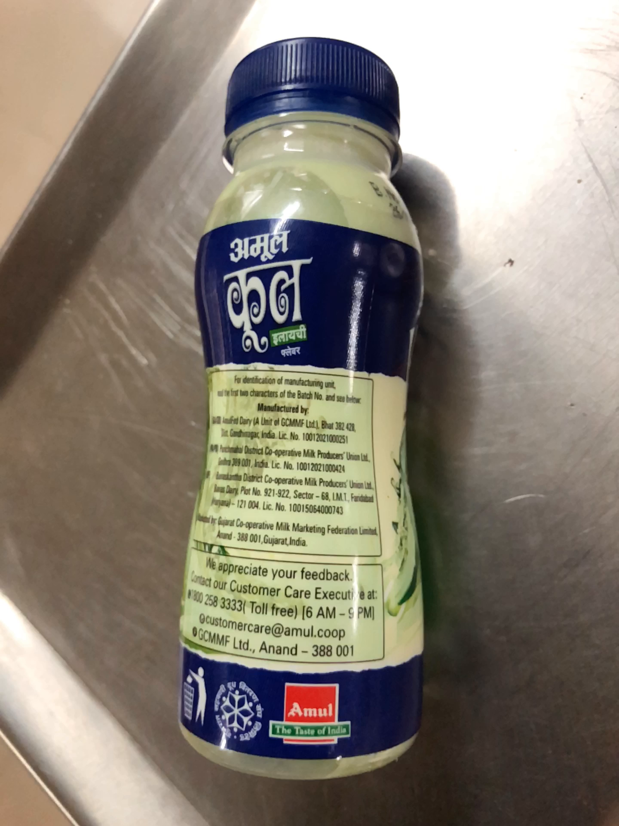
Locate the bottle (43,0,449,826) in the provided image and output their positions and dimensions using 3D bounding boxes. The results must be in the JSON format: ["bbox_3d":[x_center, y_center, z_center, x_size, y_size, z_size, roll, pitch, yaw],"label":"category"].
[{"bbox_3d":[-0.007,0.003,0.122,0.050,0.040,0.150,0,84,25],"label":"bottle"}]
